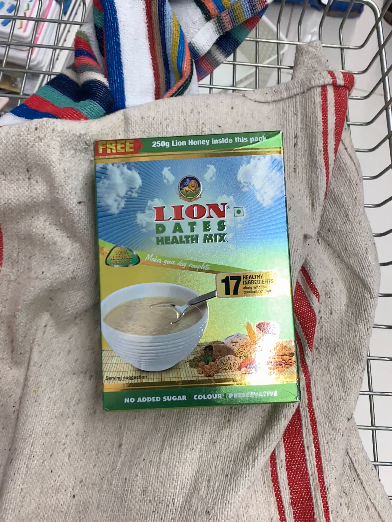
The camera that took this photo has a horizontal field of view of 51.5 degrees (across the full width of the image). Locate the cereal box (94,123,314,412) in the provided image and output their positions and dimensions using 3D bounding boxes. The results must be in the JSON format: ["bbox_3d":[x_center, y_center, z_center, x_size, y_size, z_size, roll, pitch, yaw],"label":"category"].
[{"bbox_3d":[0.004,0.006,0.321,0.140,0.090,0.190,-3,86,1],"label":"cereal box"}]
